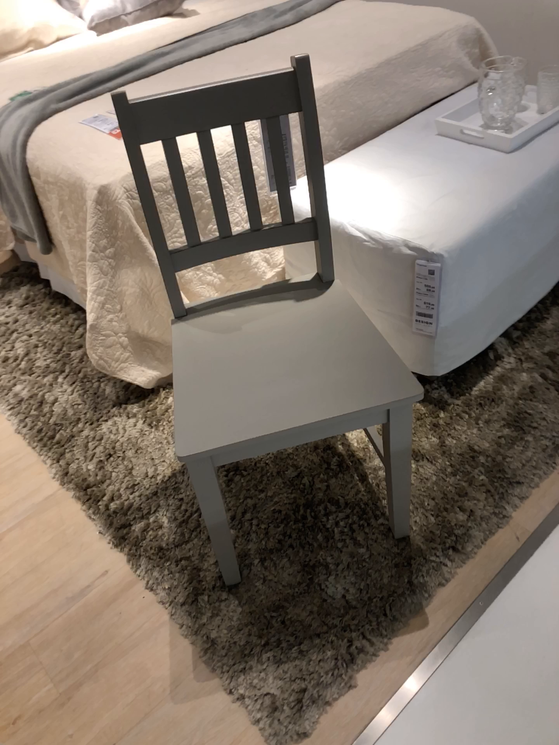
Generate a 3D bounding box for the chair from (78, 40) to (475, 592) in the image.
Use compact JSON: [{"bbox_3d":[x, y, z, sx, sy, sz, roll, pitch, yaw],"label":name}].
[{"bbox_3d":[-0.015,-0.091,1.194,0.480,0.824,0.534,-15,42,-7],"label":"chair"}]
